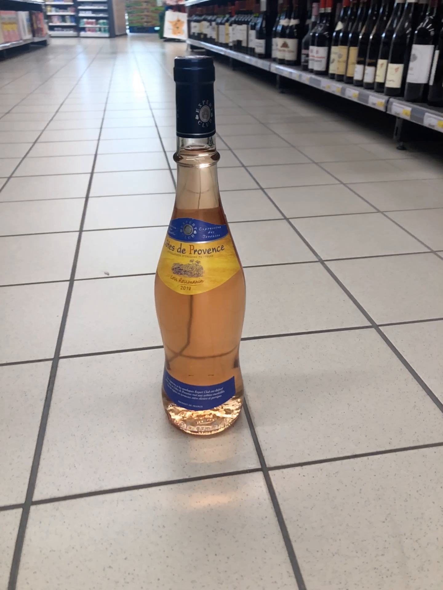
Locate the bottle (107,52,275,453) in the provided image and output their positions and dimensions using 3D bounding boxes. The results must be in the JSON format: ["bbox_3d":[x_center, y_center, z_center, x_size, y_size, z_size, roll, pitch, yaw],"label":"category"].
[{"bbox_3d":[-0.018,-0.024,0.409,0.090,0.318,0.081,10,30,18],"label":"bottle"}]
